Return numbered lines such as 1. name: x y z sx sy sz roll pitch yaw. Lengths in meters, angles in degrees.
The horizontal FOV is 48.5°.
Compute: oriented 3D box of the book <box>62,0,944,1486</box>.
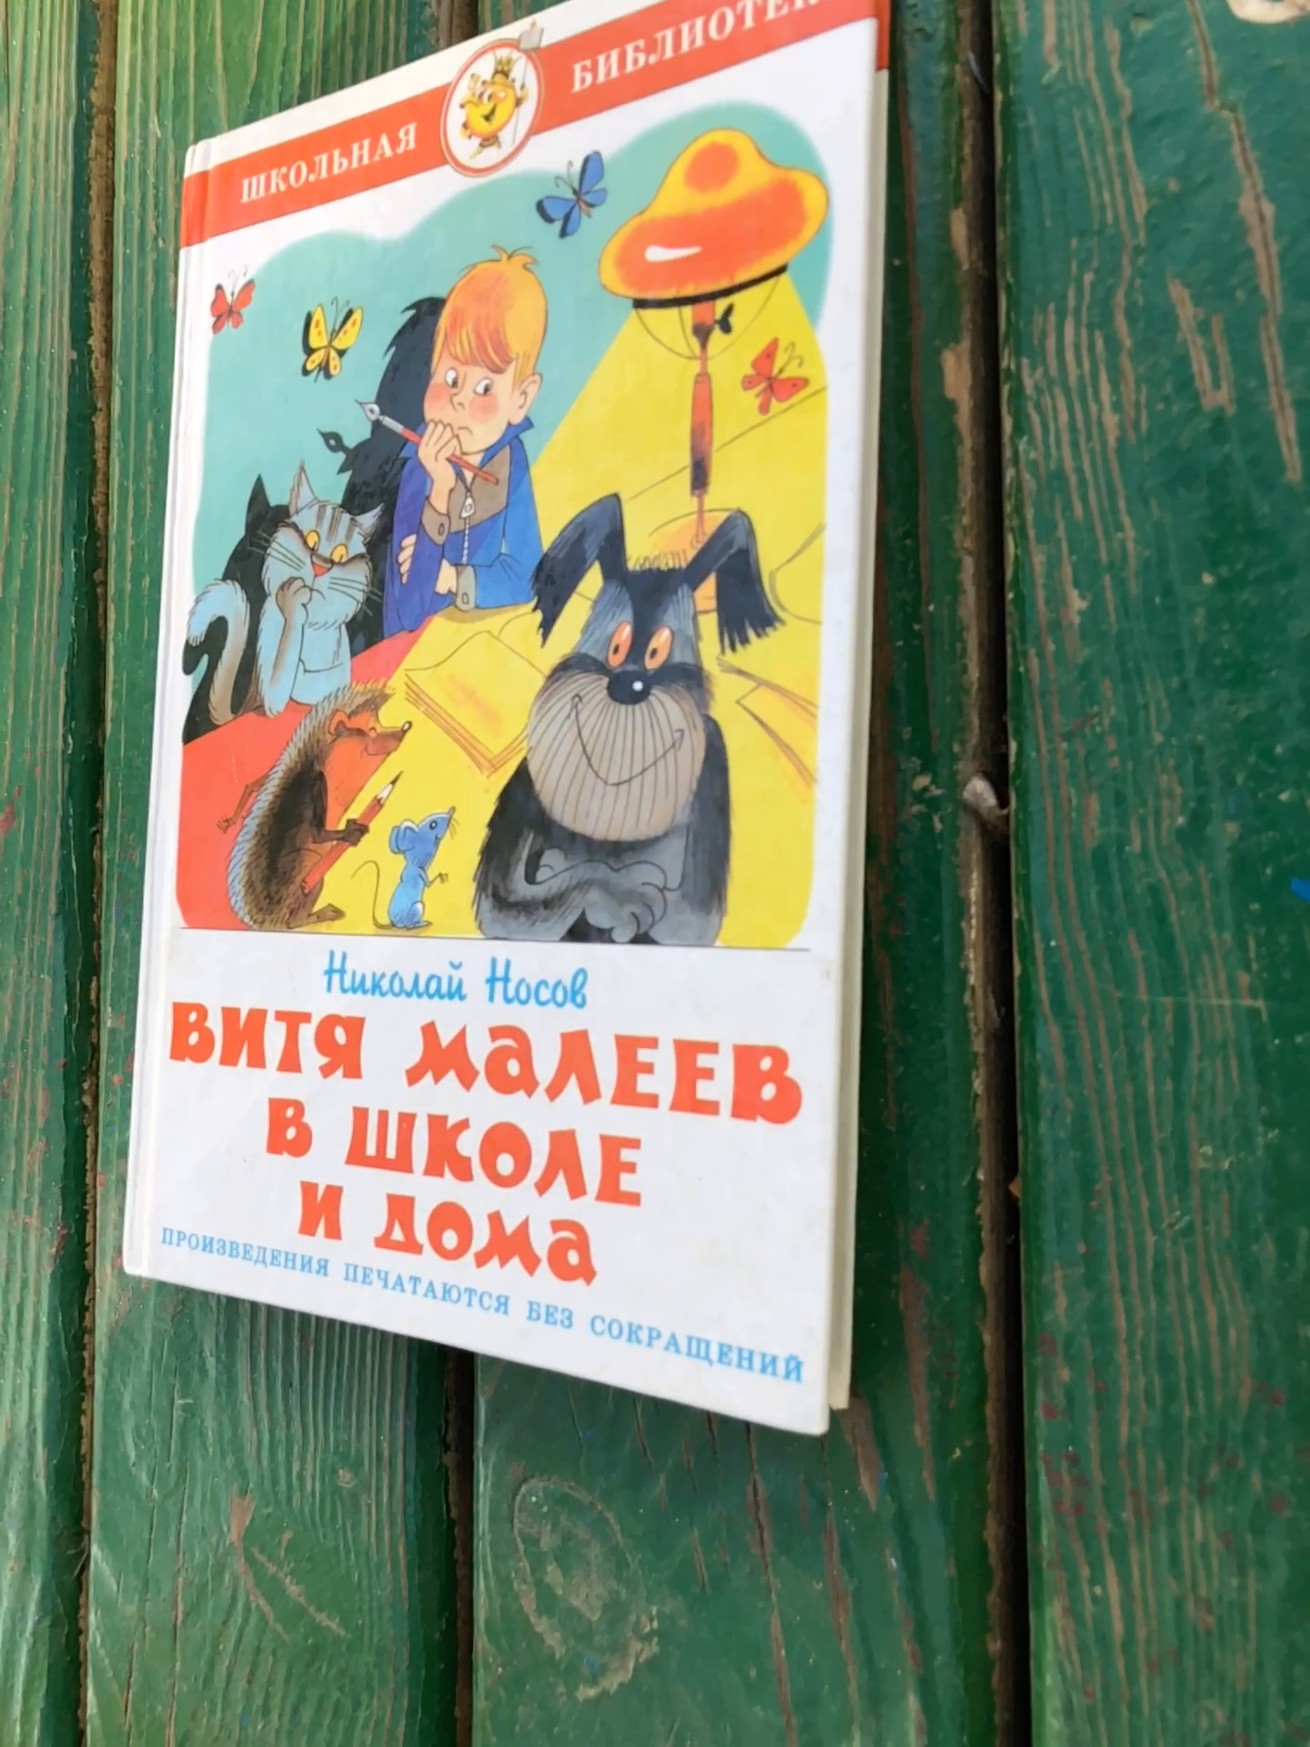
1. book: -0.032 -0.031 0.232 0.146 0.020 0.212 2 87 32
